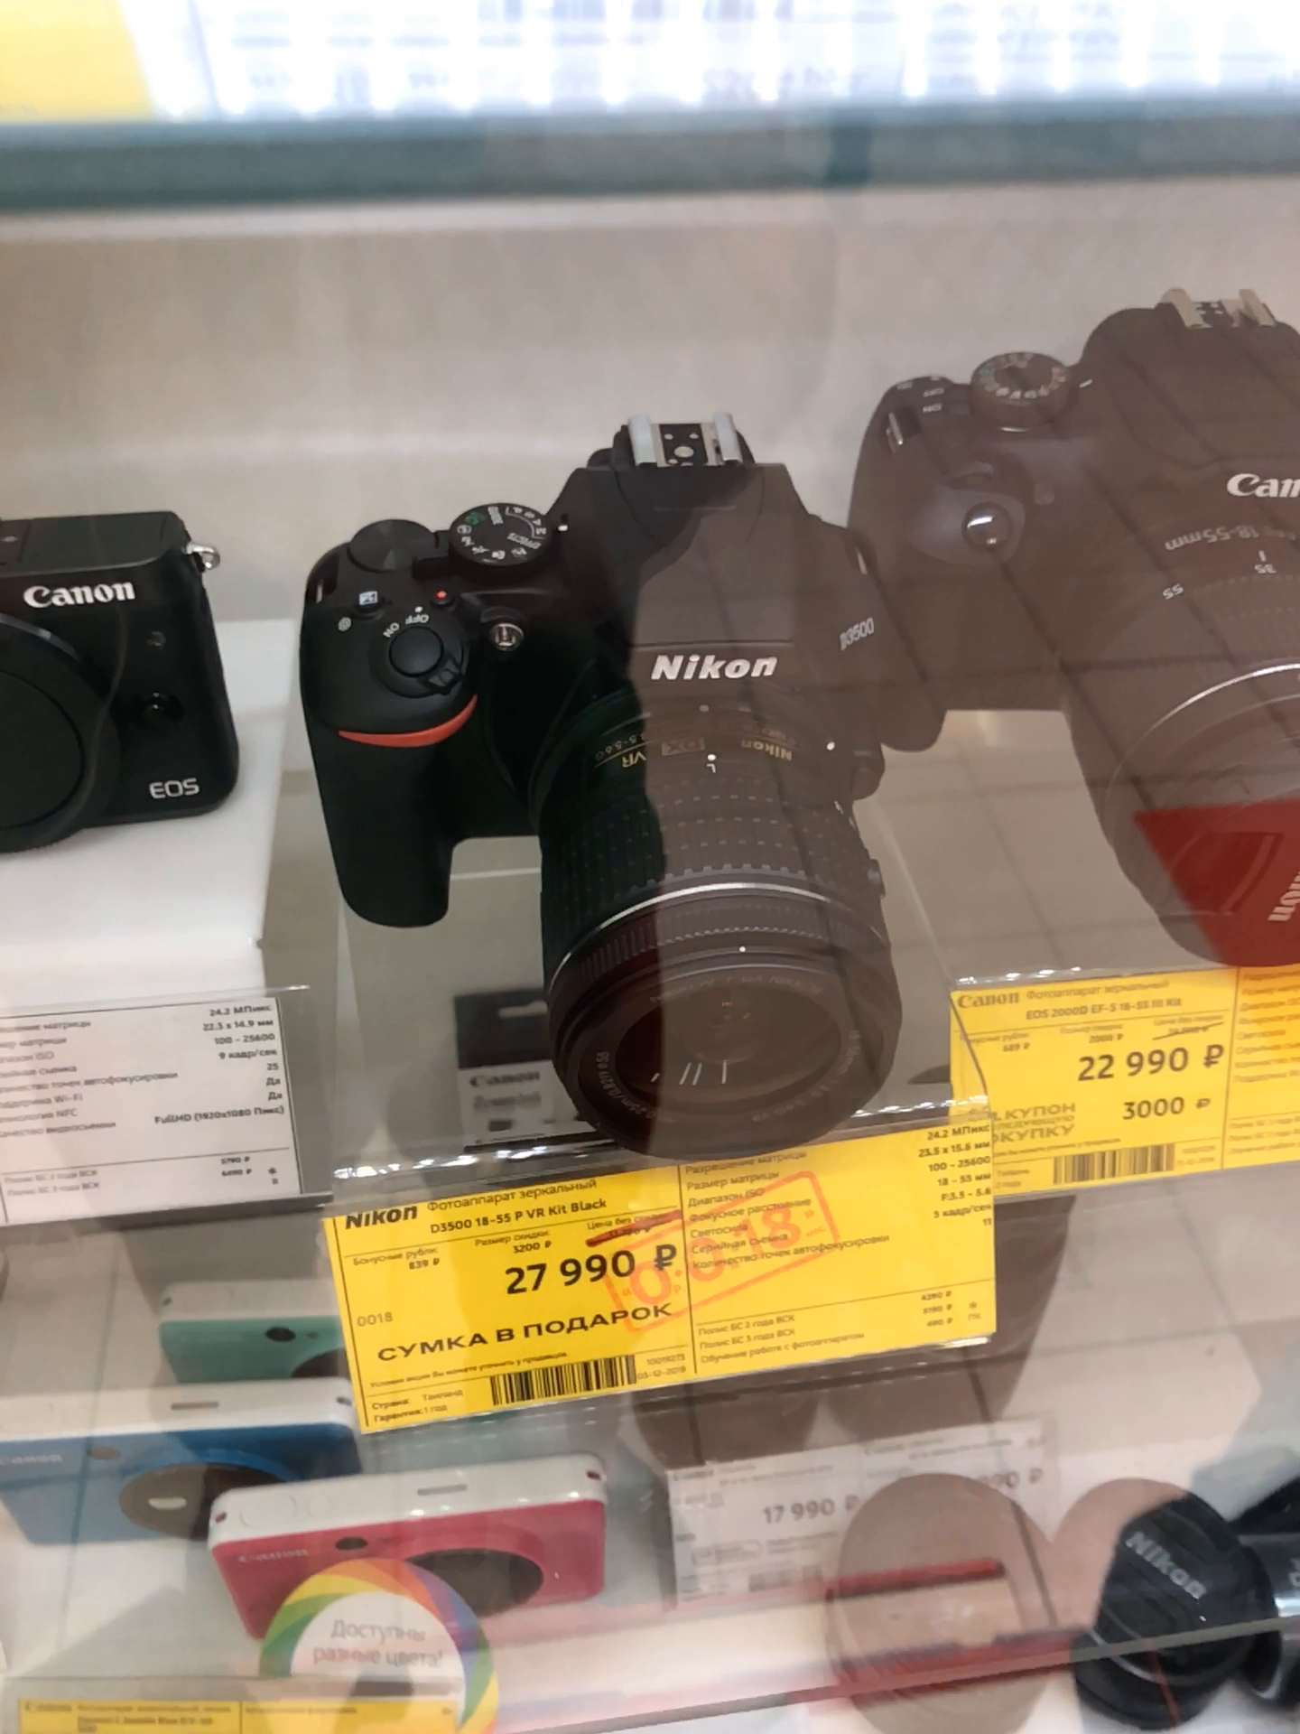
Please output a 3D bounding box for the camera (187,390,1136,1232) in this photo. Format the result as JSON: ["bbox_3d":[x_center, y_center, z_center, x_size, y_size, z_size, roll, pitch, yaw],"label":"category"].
[{"bbox_3d":[-0.005,-0.016,0.271,0.130,0.092,0.121,-4,43,-6],"label":"camera"}]
